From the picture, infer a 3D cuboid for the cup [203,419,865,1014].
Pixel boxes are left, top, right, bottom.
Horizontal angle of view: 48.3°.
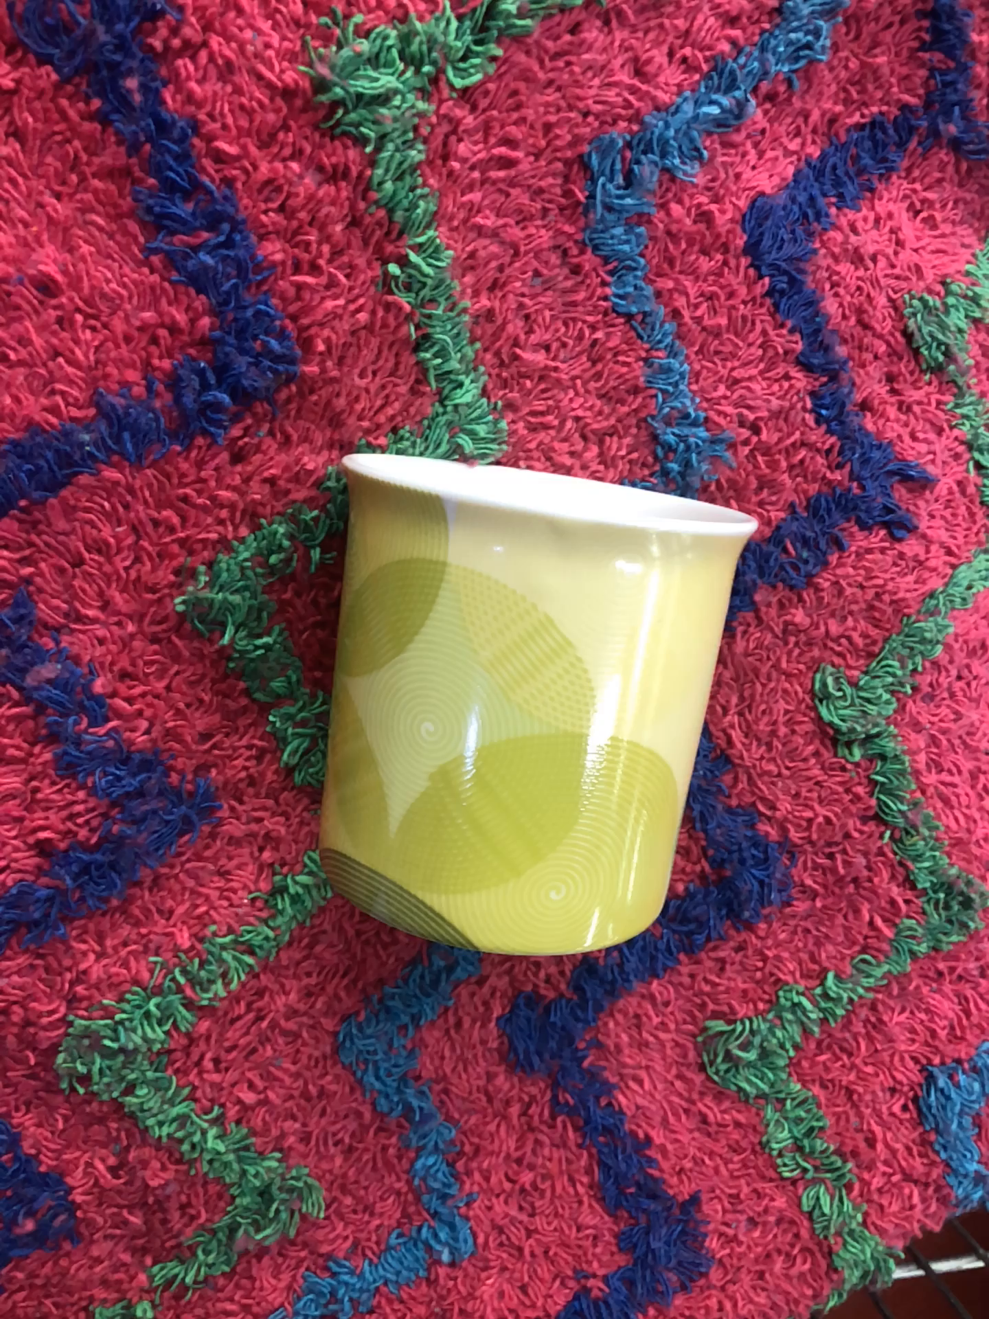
[{"bbox_3d":[0.008,0.001,0.239,0.110,0.080,0.090,-8,110,-44],"label":"cup"}]
